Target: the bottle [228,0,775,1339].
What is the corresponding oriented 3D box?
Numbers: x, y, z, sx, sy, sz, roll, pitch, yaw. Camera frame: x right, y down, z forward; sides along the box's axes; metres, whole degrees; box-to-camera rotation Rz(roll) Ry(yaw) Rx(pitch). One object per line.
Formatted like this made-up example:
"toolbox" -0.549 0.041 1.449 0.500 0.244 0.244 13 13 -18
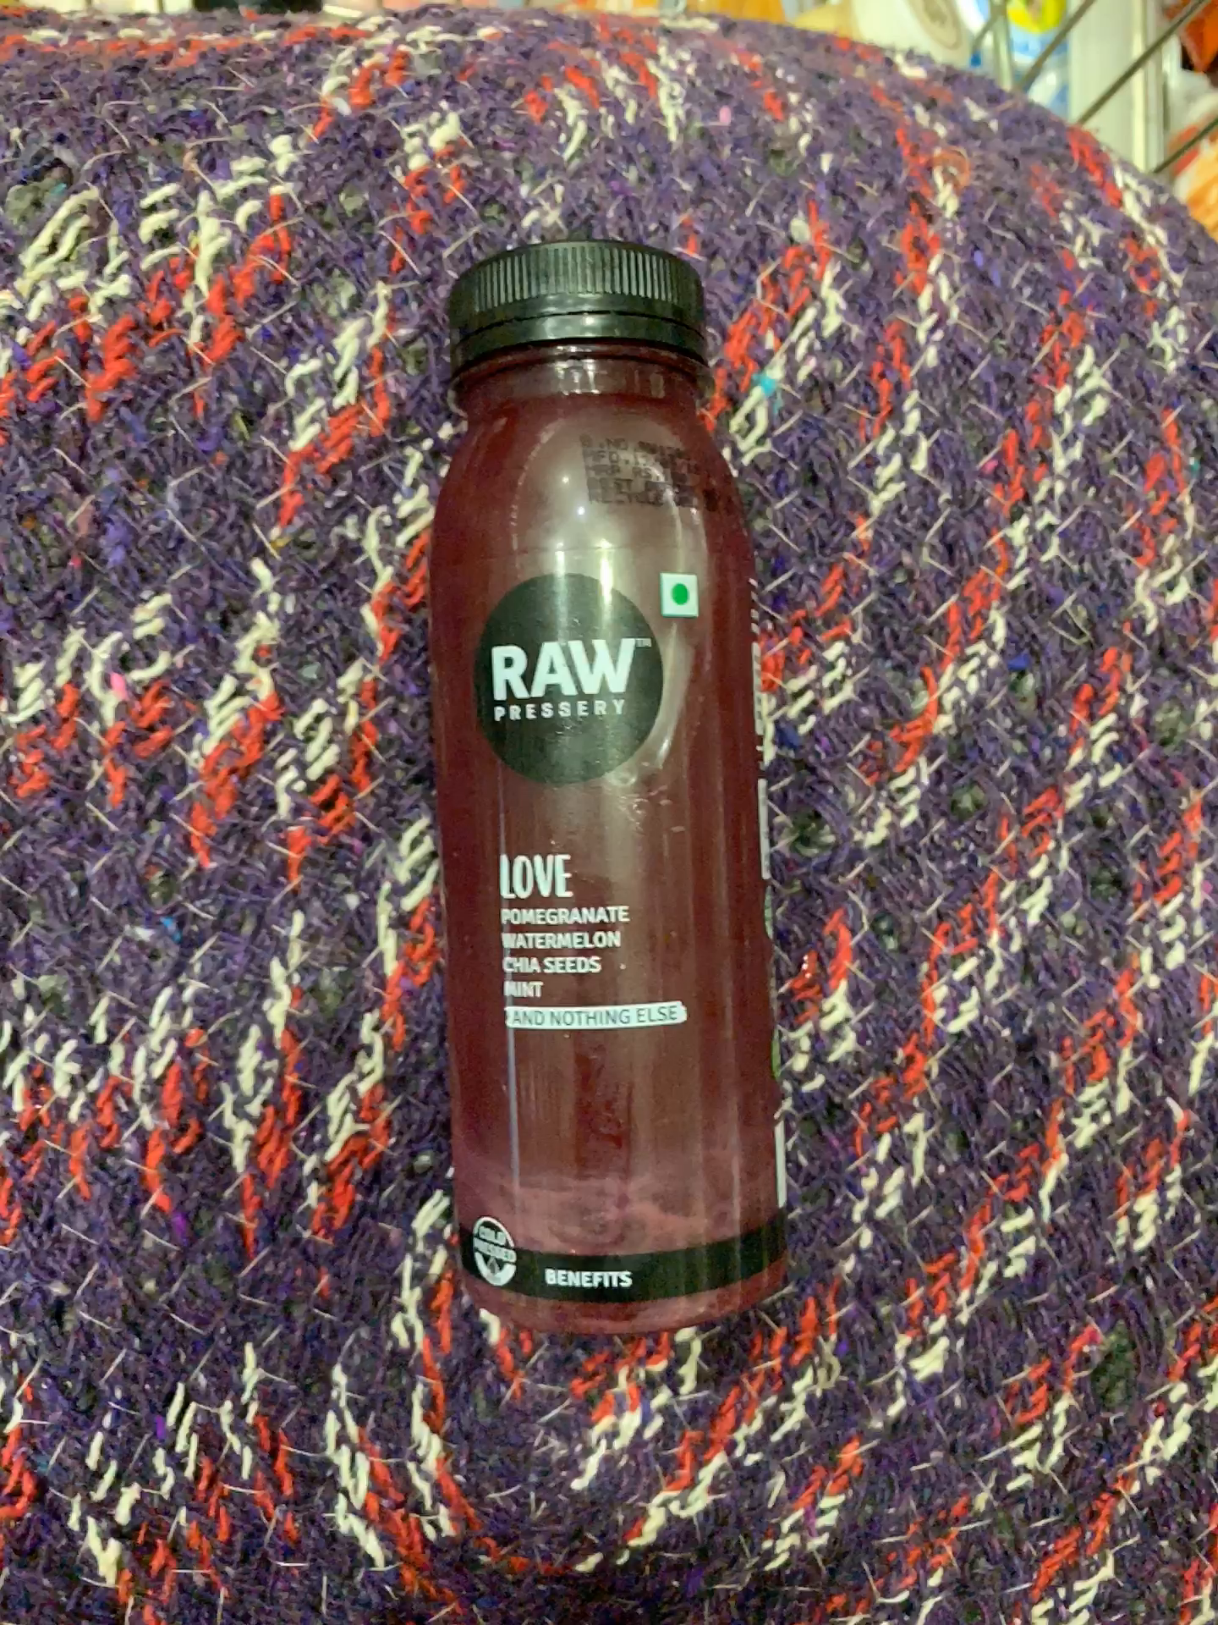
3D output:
"bottle" -0.011 -0.019 0.189 0.060 0.060 0.170 -3 89 9
